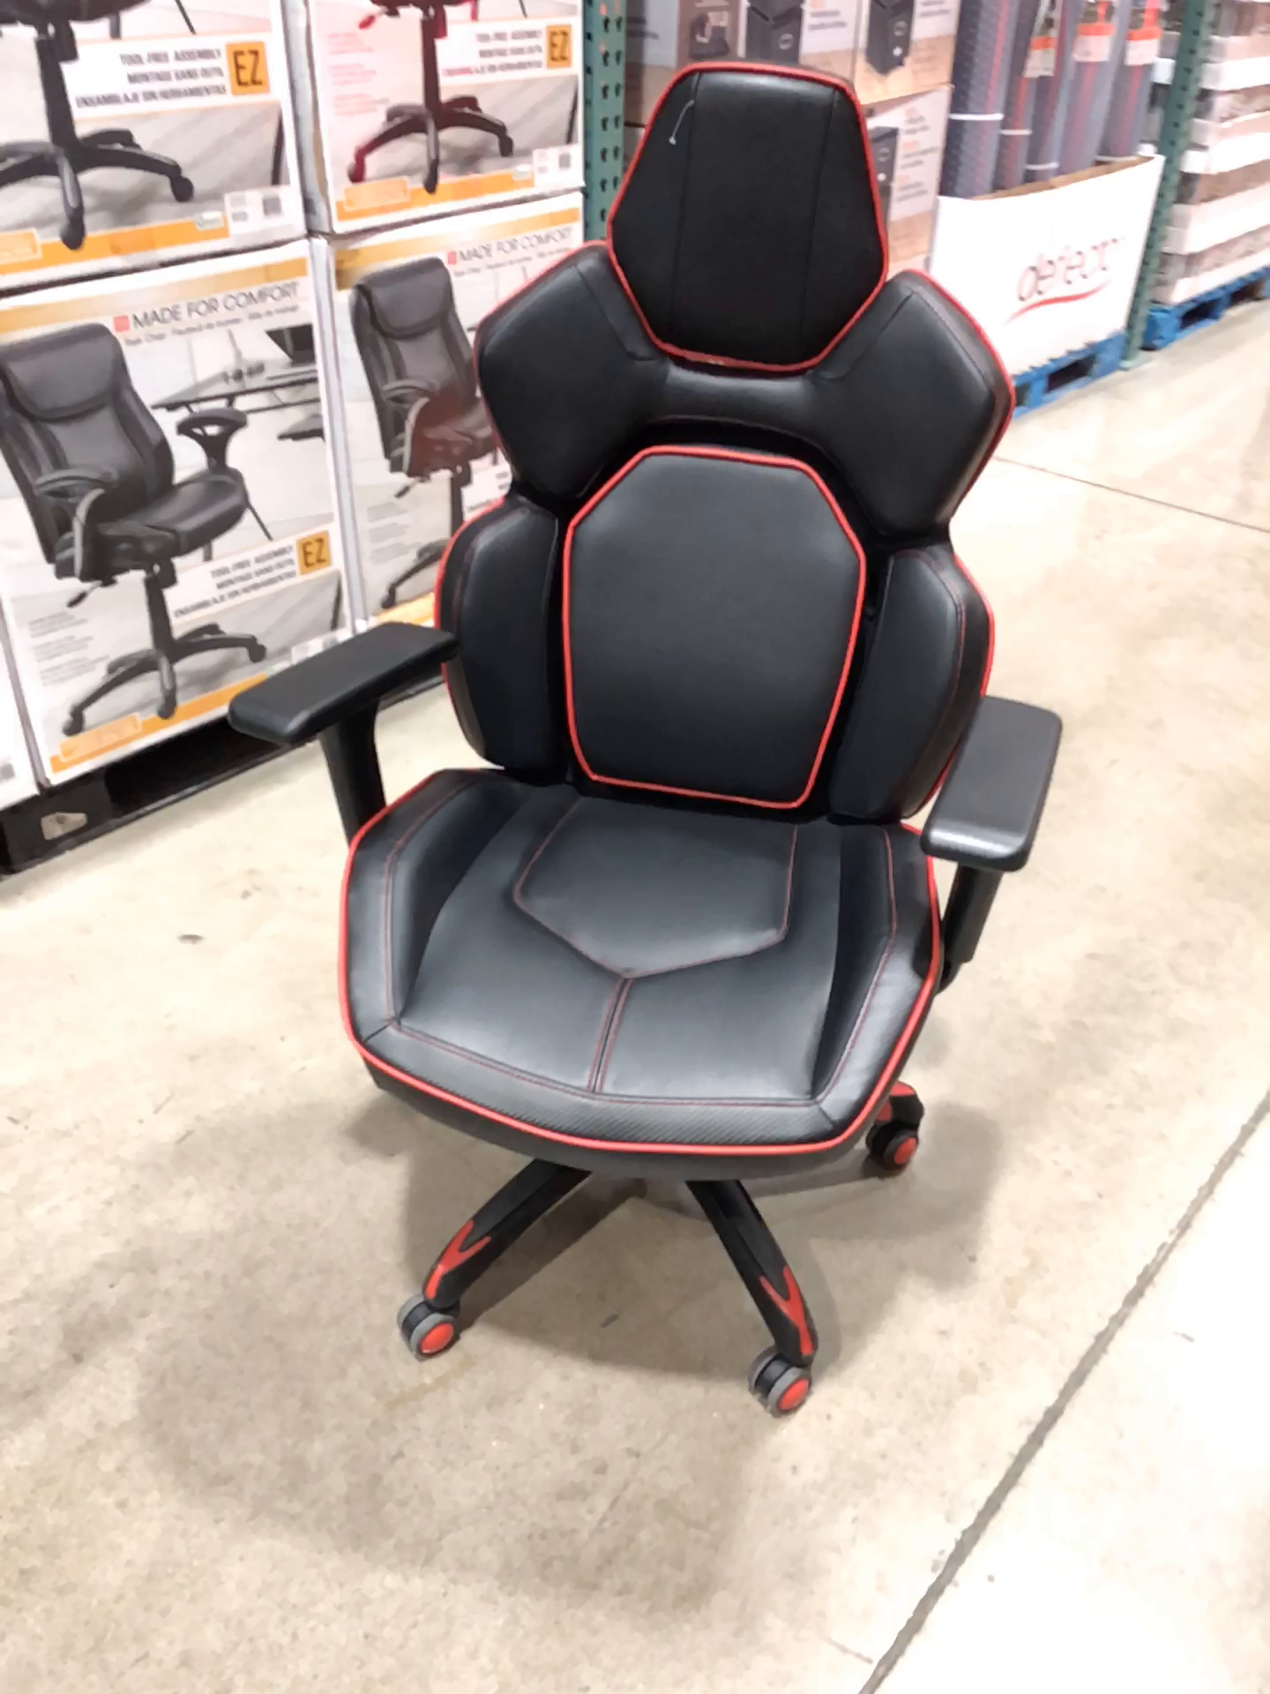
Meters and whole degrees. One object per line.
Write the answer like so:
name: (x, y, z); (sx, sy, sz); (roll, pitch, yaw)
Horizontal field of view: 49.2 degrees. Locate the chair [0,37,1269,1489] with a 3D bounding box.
chair: (0.031, -0.092, 1.364); (0.720, 1.145, 0.723); (6, 34, 6)
